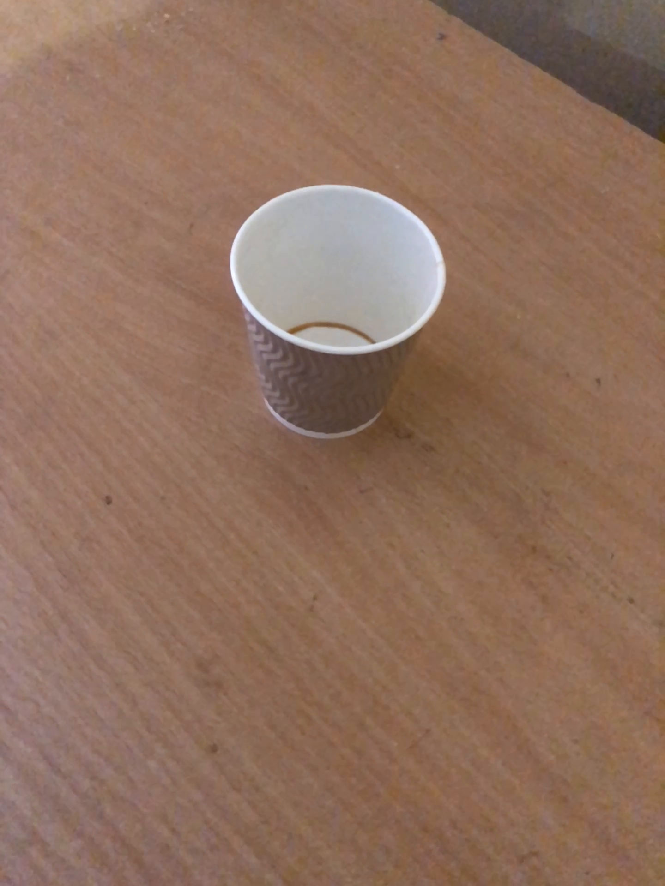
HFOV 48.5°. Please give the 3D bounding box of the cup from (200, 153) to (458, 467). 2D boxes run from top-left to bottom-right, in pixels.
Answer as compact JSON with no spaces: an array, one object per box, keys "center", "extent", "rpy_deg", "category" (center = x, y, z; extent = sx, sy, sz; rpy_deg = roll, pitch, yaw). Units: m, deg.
[{"center":[0.000,-0.045,0.259],"extent":[0.067,0.064,0.074],"rpy_deg":[11,60,4],"category":"cup"}]
